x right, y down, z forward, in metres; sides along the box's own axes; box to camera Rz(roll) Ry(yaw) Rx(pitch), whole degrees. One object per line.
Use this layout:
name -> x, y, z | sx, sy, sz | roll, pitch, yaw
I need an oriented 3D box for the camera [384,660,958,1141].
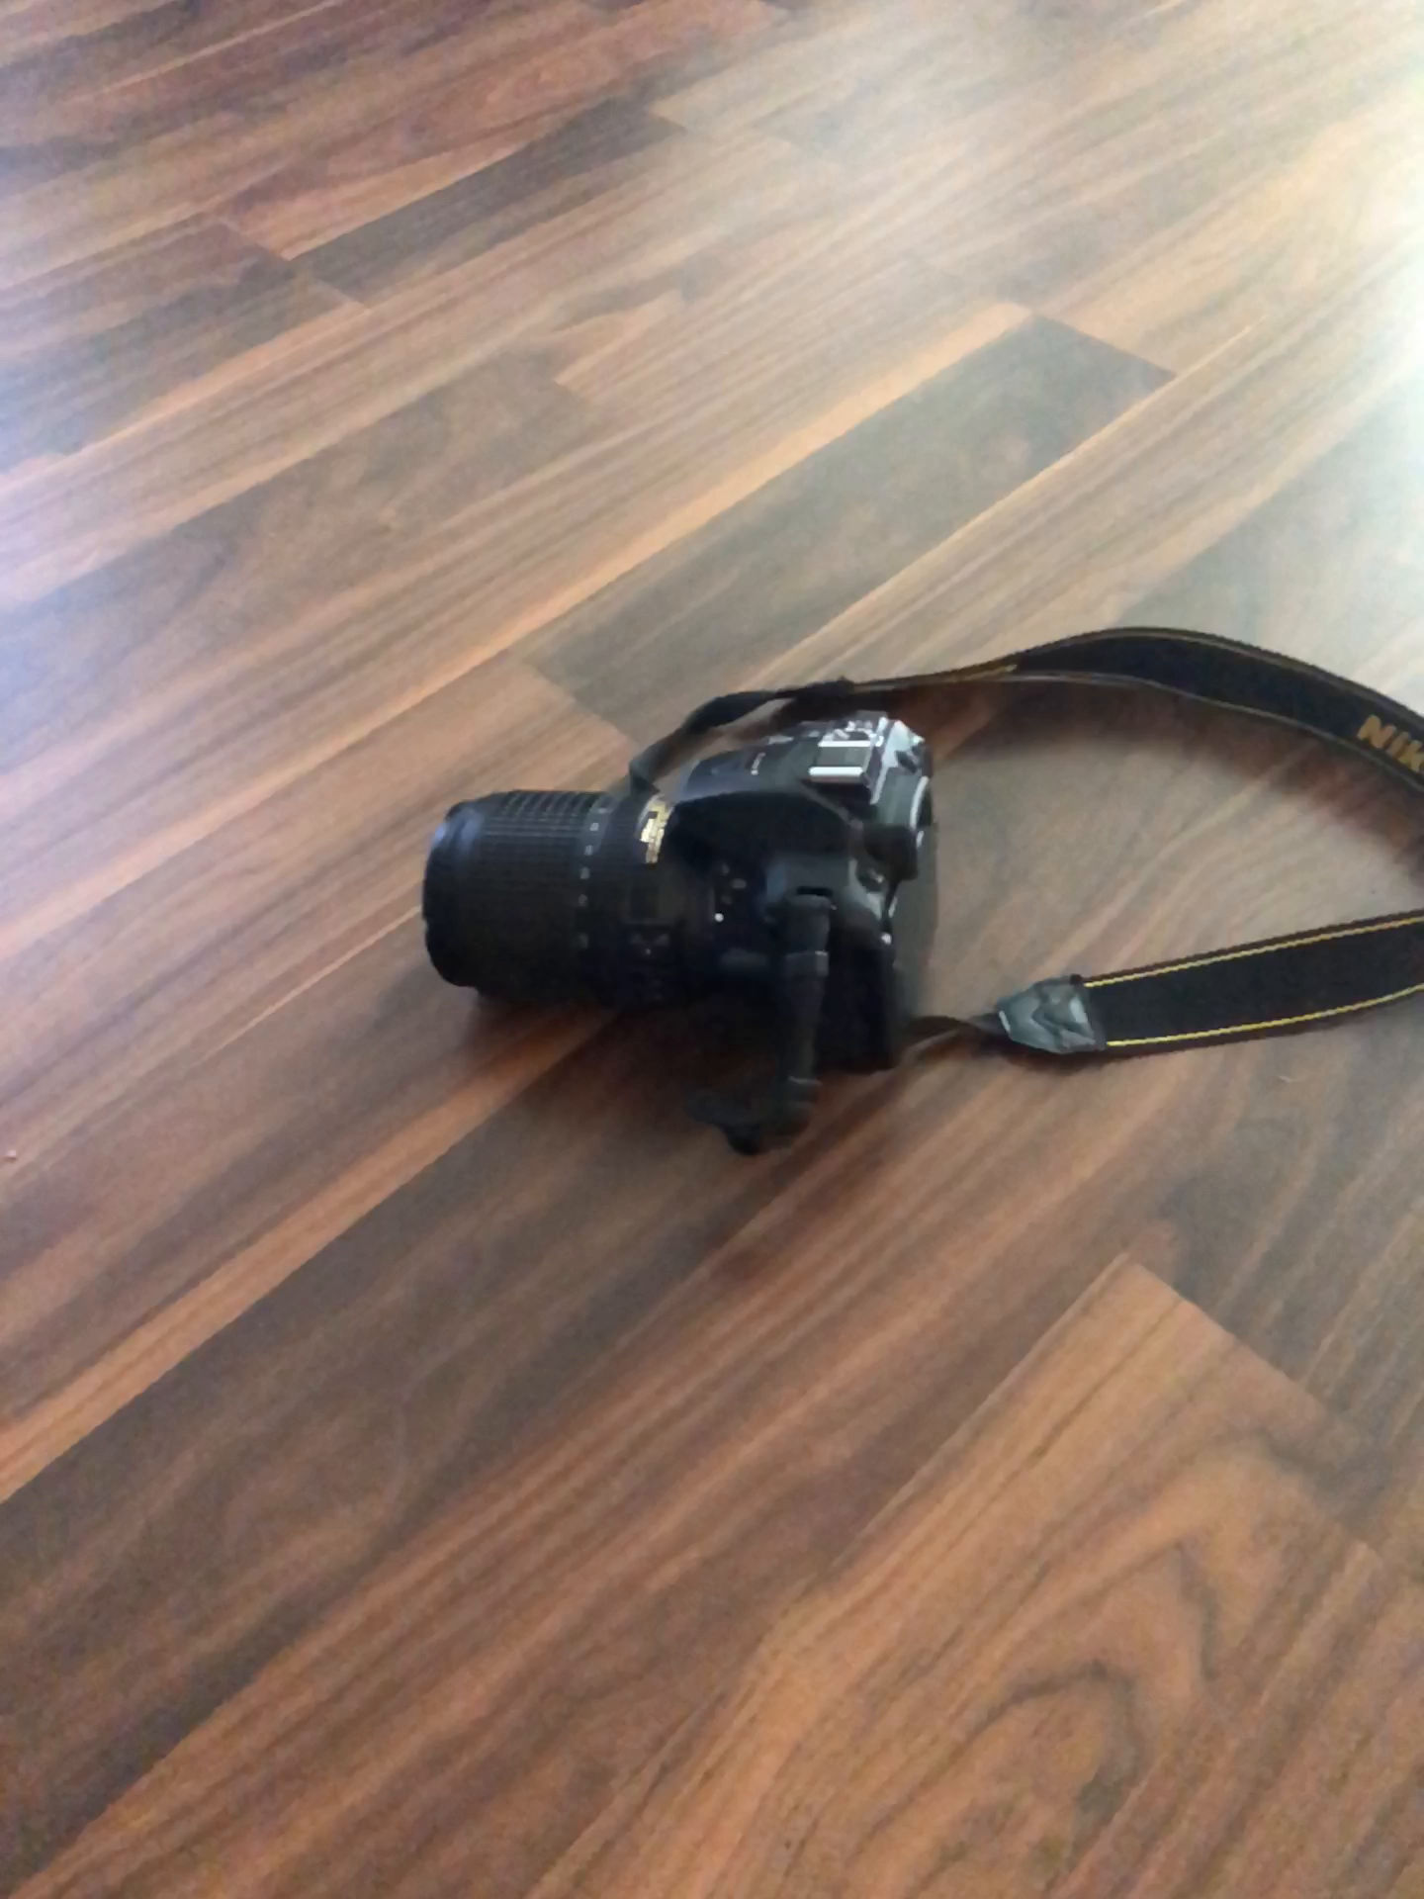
camera -> -0.004, -0.019, 0.590 | 0.180, 0.130, 0.110 | 4, 51, 12
